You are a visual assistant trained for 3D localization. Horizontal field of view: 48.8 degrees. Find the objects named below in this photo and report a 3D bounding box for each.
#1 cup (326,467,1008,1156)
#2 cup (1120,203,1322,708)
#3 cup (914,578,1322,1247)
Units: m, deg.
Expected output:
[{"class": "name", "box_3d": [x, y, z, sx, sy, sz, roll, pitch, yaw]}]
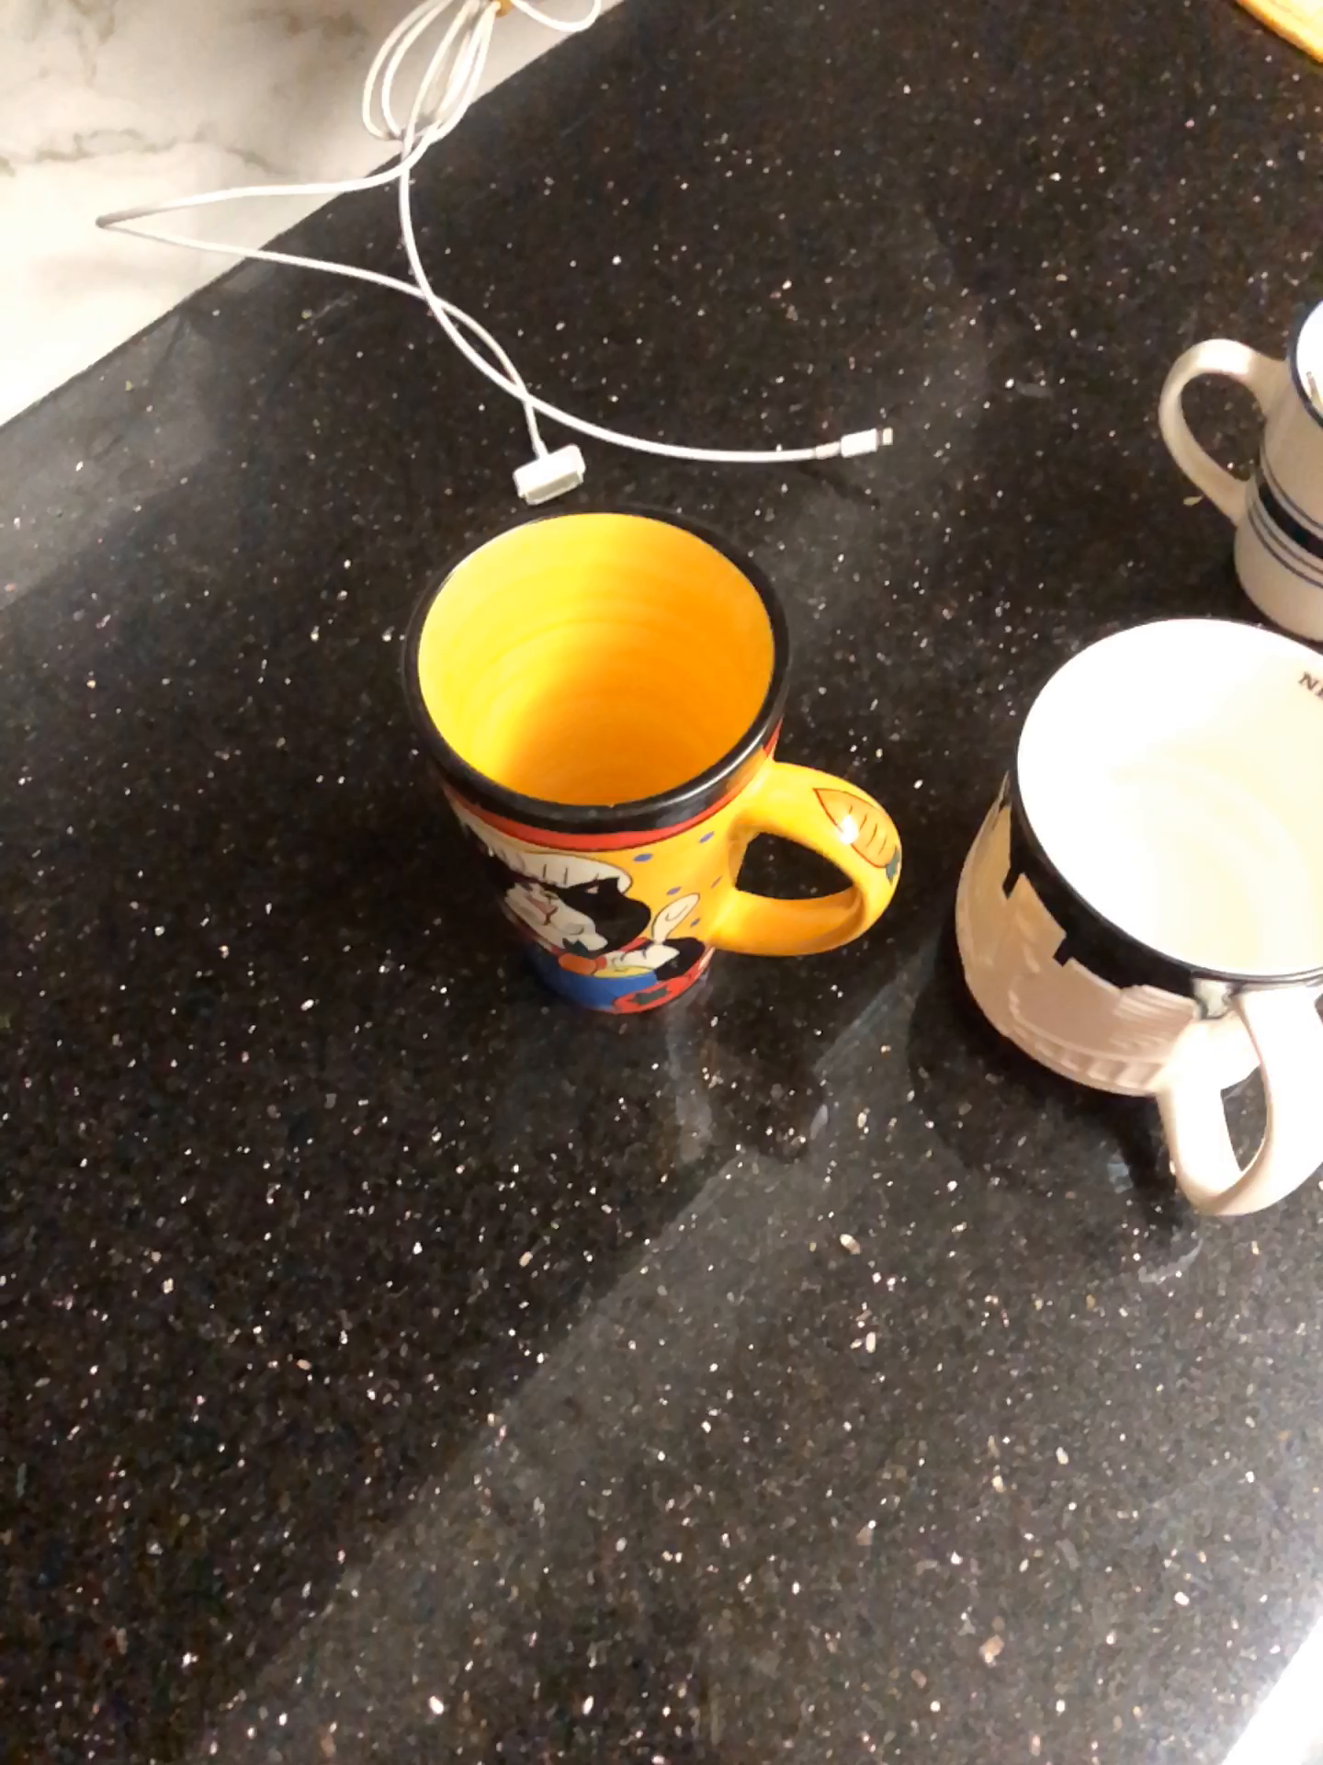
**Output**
[{"class": "cup", "box_3d": [0.005, -0.011, 0.392, 0.130, 0.150, 0.090, 17, 64, 10]}, {"class": "cup", "box_3d": [0.215, -0.138, 0.482, 0.090, 0.110, 0.100, 11, 63, 7]}, {"class": "cup", "box_3d": [0.137, 0.012, 0.409, 0.100, 0.110, 0.150, -3, 62, 0]}]
